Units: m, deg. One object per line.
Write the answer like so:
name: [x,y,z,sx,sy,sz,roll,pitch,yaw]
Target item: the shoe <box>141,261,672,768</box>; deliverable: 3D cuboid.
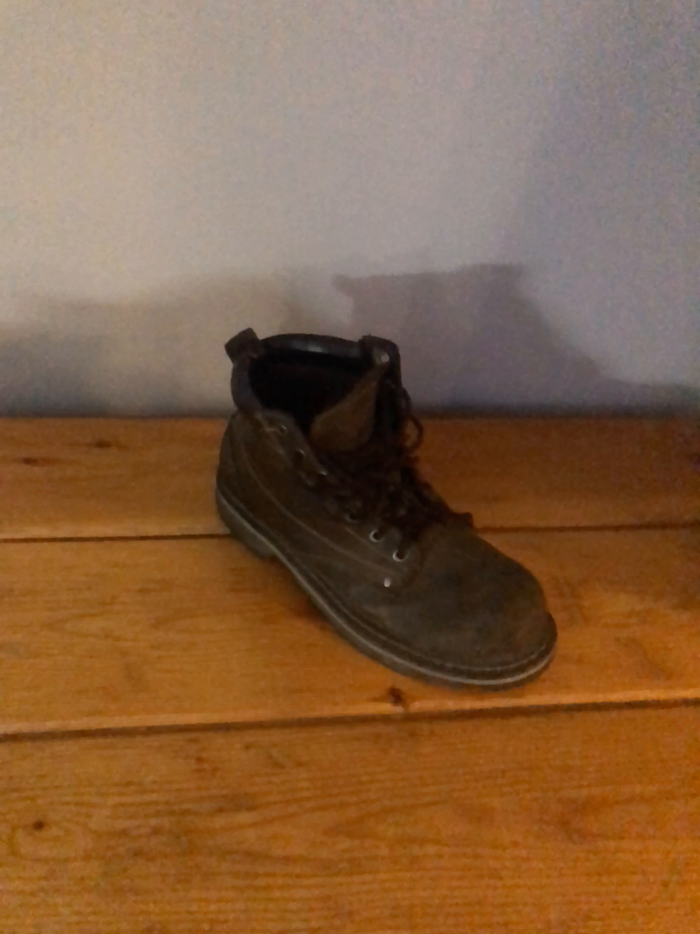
shoe: [0.019,0.022,0.549,0.320,0.189,0.130,32,50,24]
